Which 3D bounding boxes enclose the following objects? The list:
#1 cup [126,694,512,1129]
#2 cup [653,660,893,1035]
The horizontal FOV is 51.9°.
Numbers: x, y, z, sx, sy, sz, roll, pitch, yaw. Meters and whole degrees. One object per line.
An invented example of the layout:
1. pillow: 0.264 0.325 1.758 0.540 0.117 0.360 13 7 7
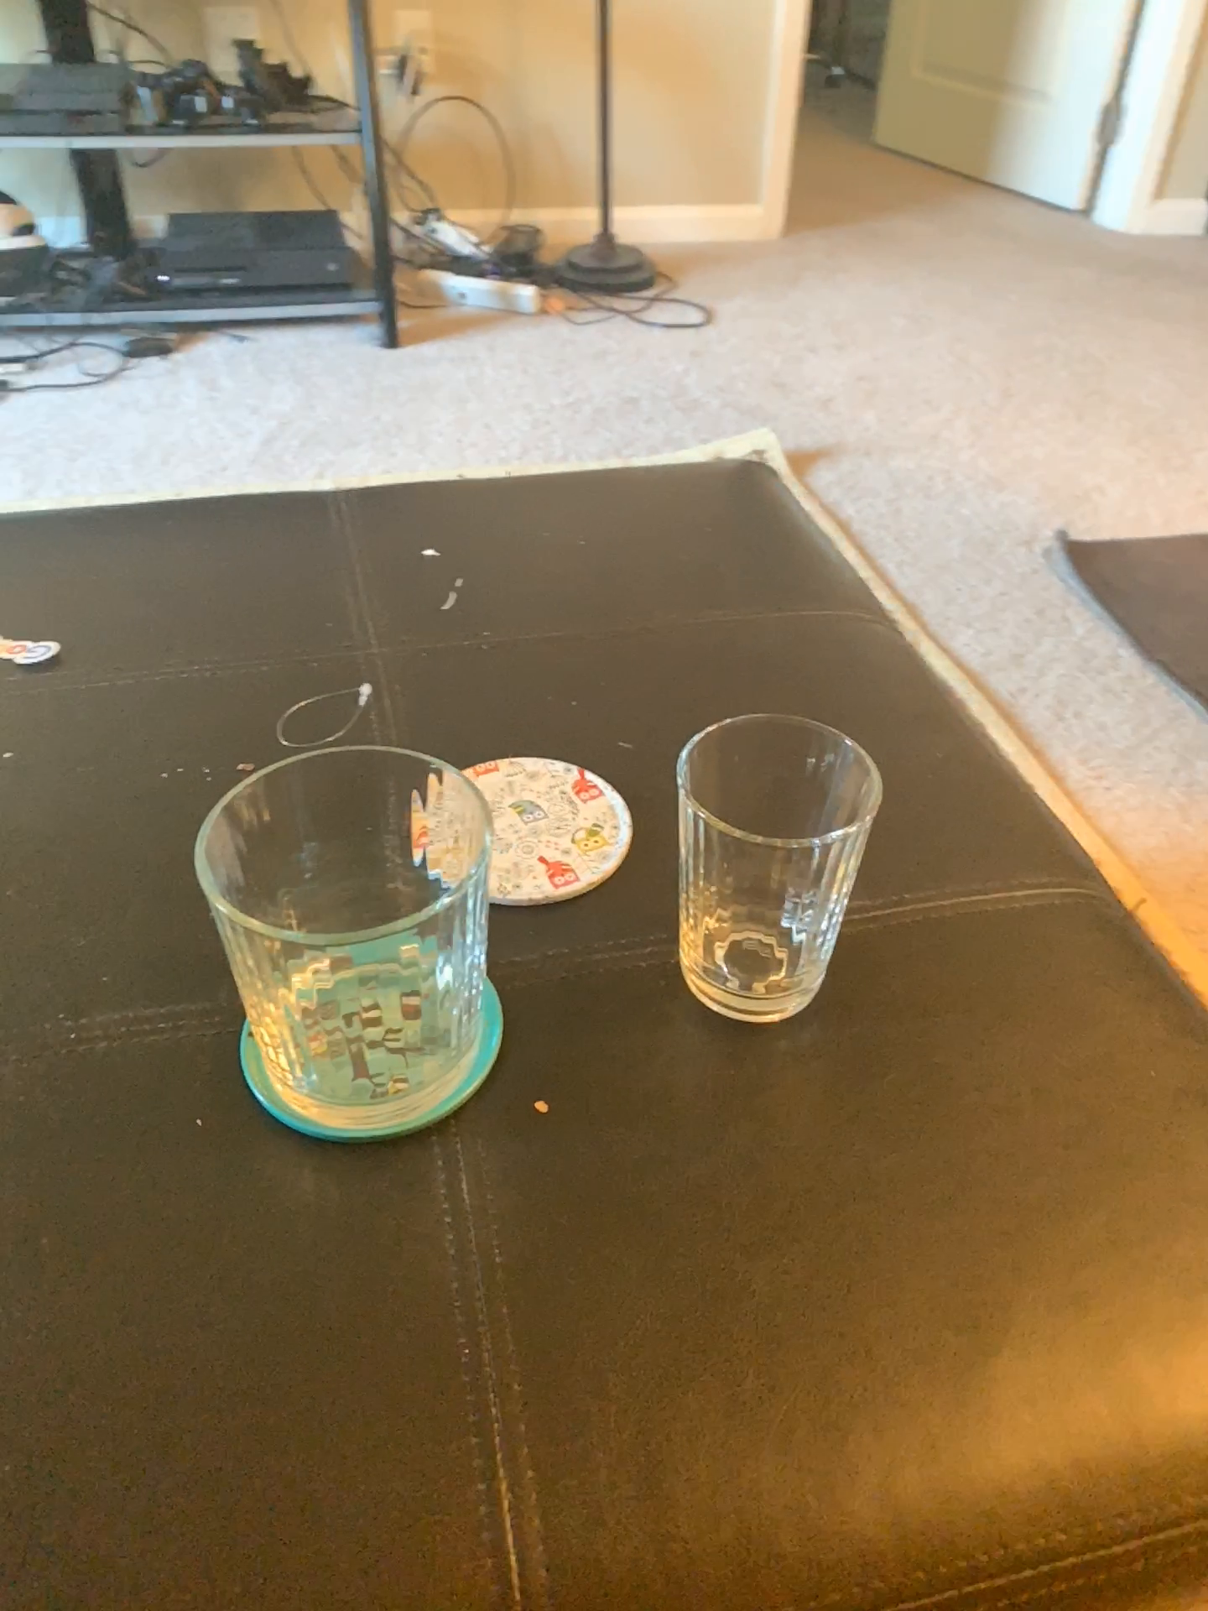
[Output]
1. cup: -0.080 0.031 0.381 0.080 0.089 0.080 1 39 -1
2. cup: 0.055 0.013 0.406 0.060 0.089 0.070 10 40 10
